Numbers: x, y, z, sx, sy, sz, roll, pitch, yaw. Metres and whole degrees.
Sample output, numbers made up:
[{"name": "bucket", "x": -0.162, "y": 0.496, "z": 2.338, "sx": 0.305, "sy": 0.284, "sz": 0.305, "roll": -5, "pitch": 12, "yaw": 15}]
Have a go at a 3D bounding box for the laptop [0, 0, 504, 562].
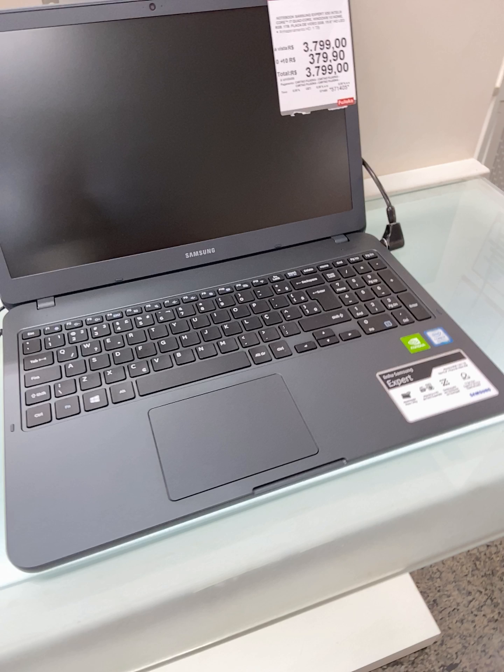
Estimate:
[{"name": "laptop", "x": -0.024, "y": -0.095, "z": 0.392, "sx": 0.363, "sy": 0.208, "sz": 0.343, "roll": -14, "pitch": 46, "yaw": -13}]
